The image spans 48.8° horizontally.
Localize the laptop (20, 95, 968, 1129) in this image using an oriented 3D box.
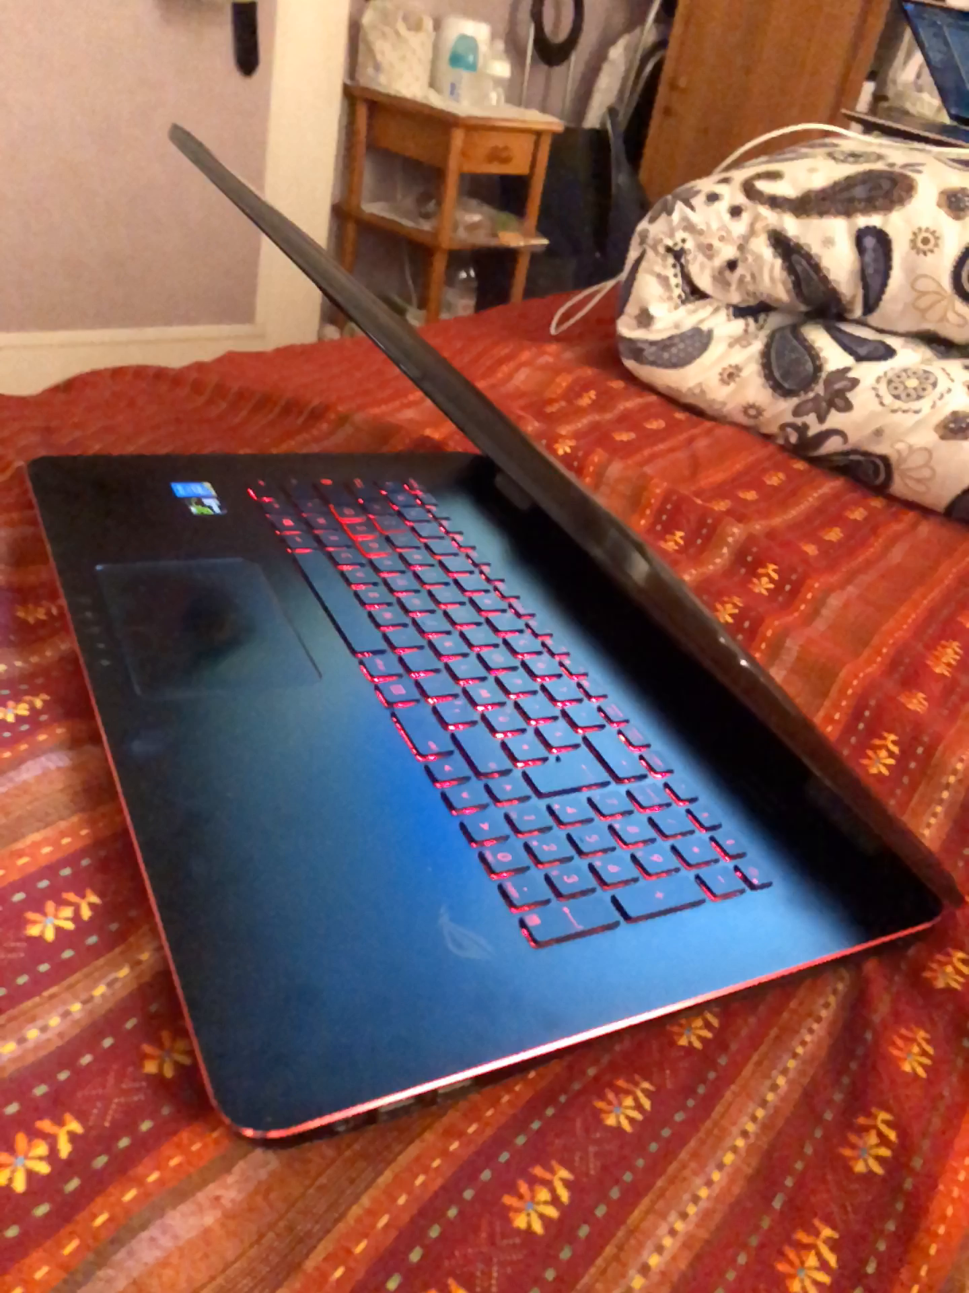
[{"bbox_3d":[-0.016,-0.072,0.432,0.268,0.168,0.400,-6,36,-28],"label":"laptop"}]
